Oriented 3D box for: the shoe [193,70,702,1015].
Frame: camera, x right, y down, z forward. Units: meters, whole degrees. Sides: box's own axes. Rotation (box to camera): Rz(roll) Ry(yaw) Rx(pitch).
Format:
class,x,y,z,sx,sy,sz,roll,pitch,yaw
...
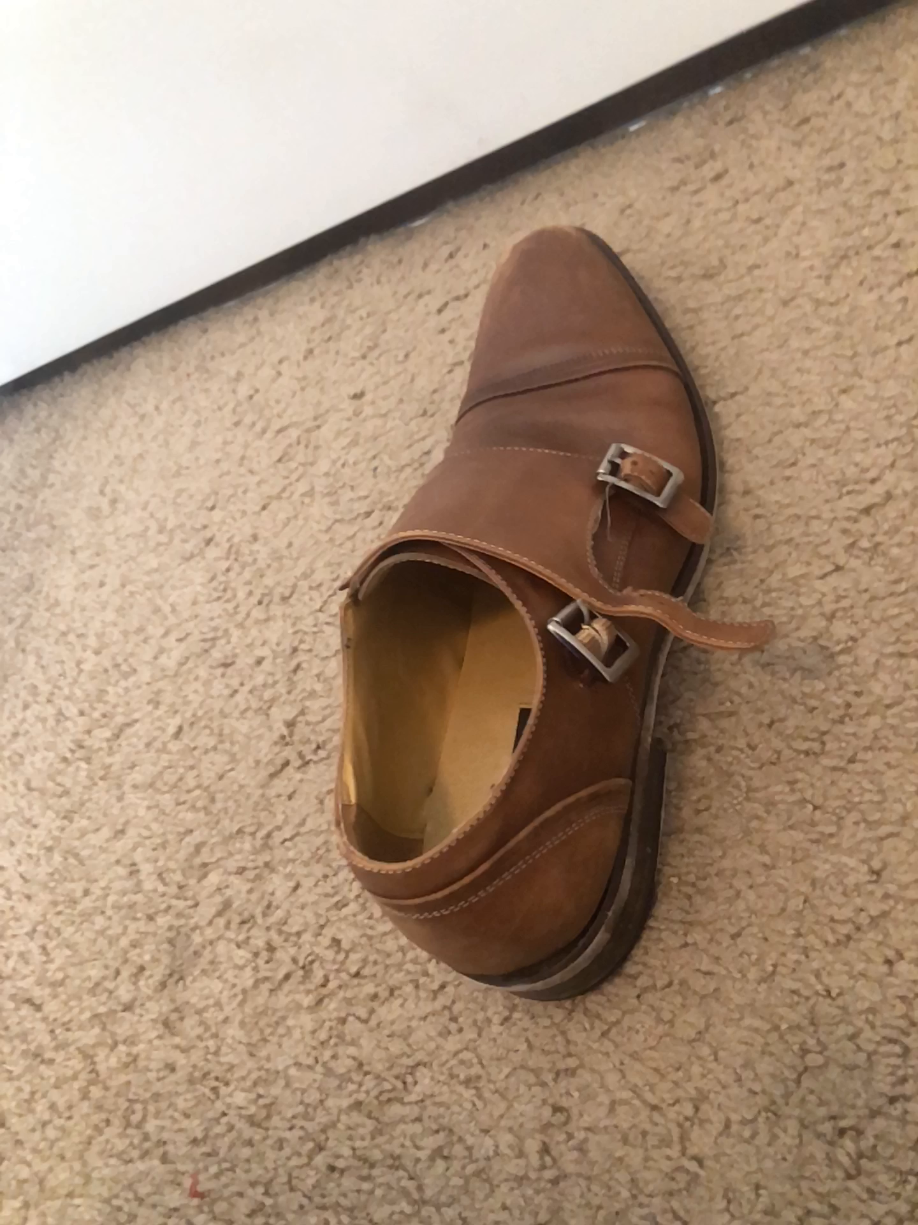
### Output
class,x,y,z,sx,sy,sz,roll,pitch,yaw
shoe,0.014,-0.025,0.346,0.100,0.107,0.286,-11,59,31
